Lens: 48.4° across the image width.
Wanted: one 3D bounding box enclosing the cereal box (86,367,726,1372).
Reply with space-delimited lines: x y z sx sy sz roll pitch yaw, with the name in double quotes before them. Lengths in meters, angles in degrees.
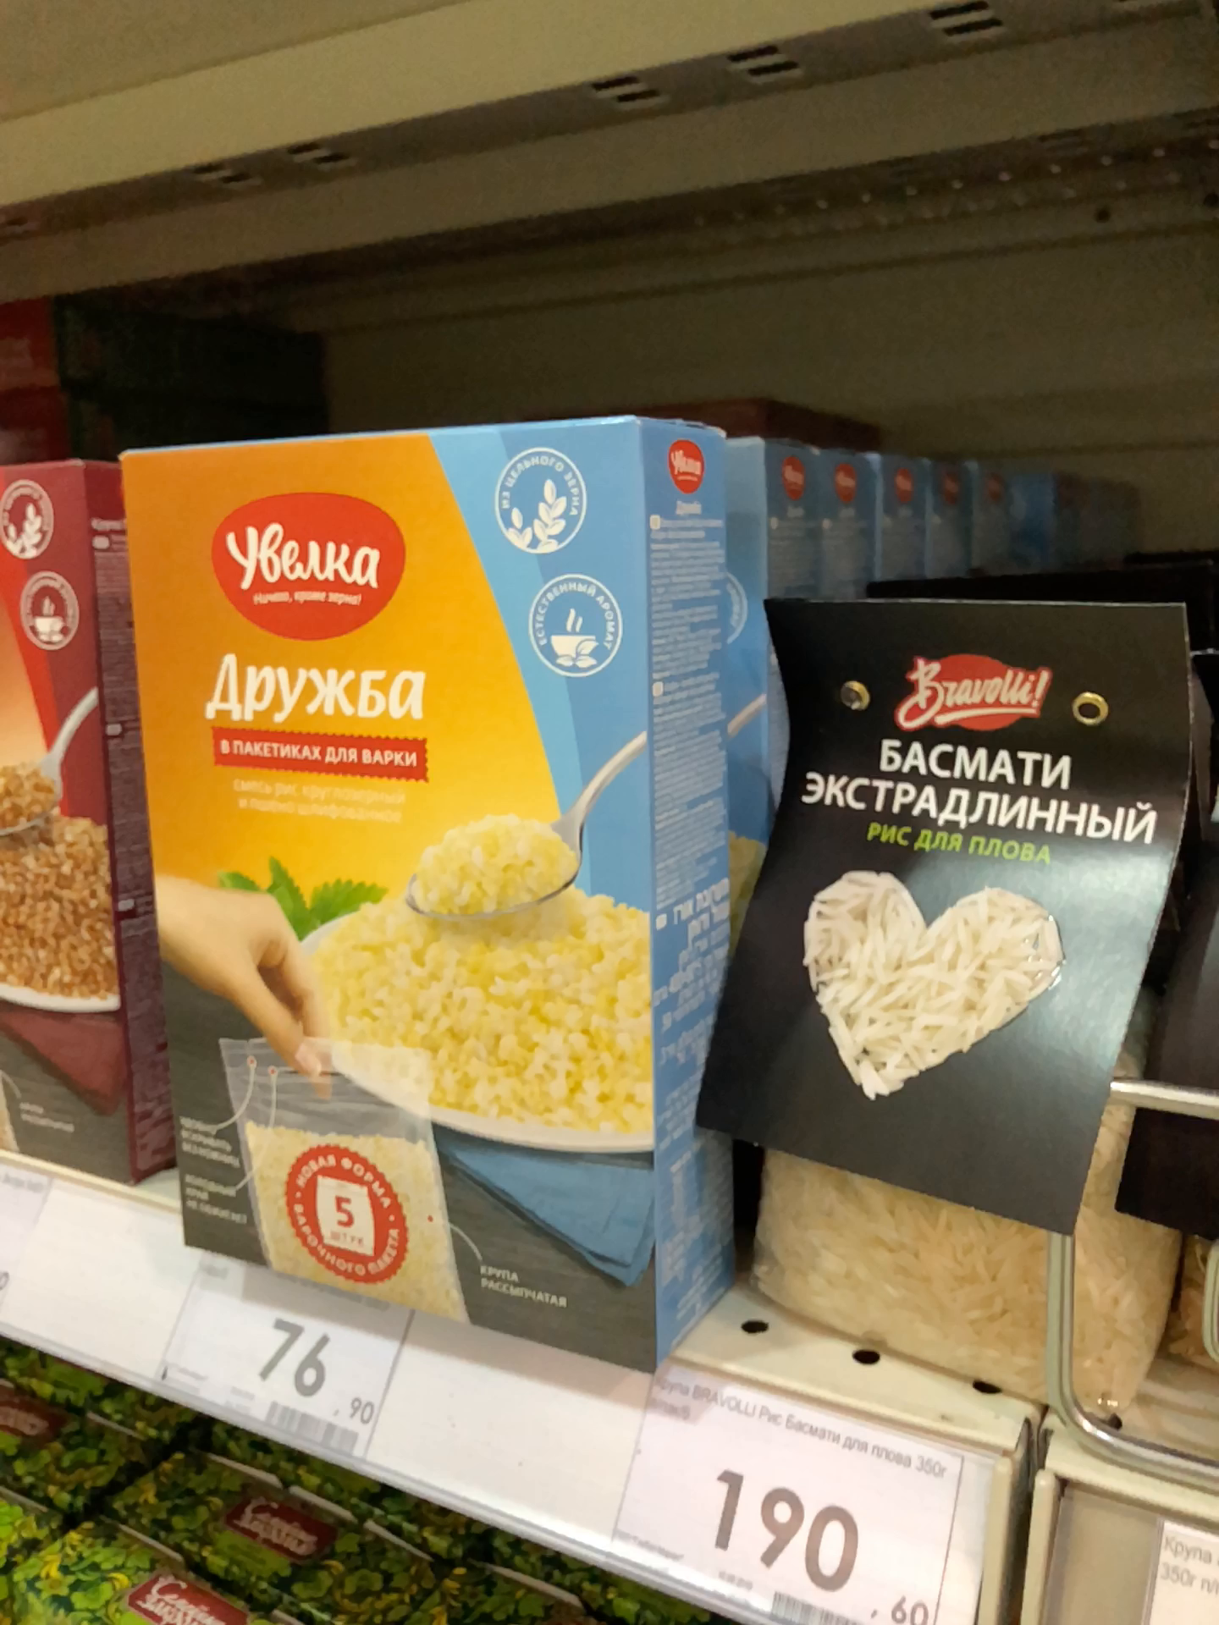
"cereal box" -0.043 0.009 0.296 0.130 0.189 0.040 4 11 26
